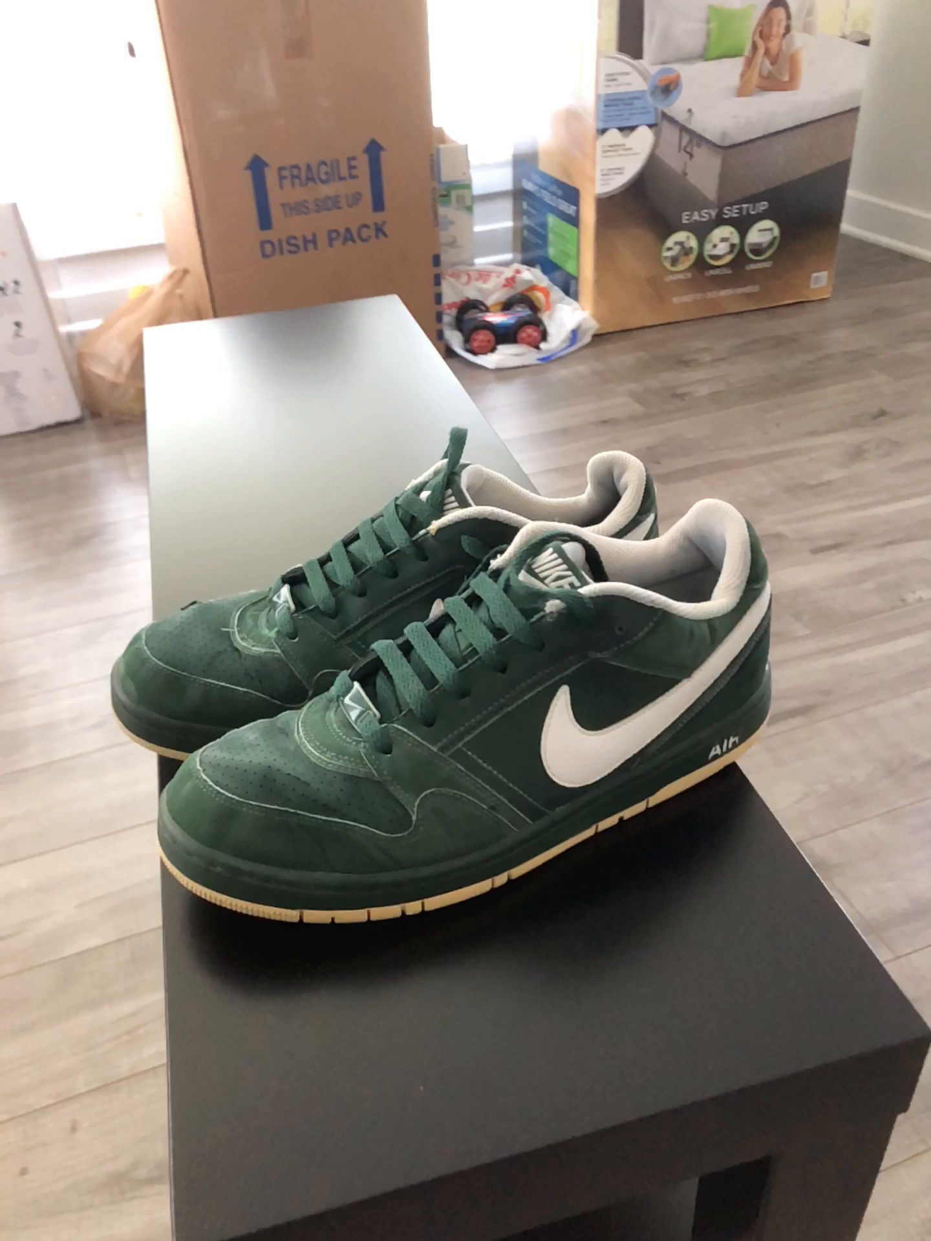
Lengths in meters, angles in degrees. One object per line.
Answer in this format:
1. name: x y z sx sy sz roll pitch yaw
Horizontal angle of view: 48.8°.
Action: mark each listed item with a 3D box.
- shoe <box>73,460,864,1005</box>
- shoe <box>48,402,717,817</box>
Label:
1. shoe: 0.000 0.034 0.416 0.280 0.100 0.110 -15 36 -11
2. shoe: -0.036 -0.013 0.502 0.292 0.100 0.100 -14 35 -9
